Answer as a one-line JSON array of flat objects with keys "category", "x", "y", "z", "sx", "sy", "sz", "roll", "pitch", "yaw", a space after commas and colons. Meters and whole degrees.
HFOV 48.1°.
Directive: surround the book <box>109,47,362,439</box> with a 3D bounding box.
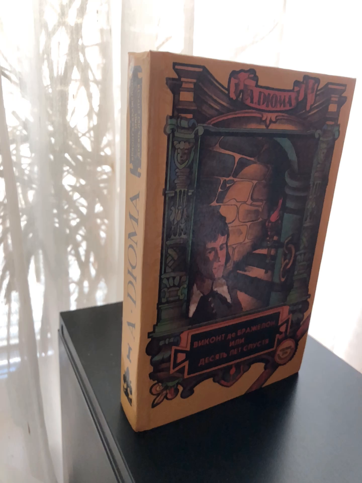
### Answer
[{"category": "book", "x": 0.033, "y": 0.001, "z": 0.244, "sx": 0.141, "sy": 0.198, "sz": 0.040, "roll": -8, "pitch": 21, "yaw": -28}]
